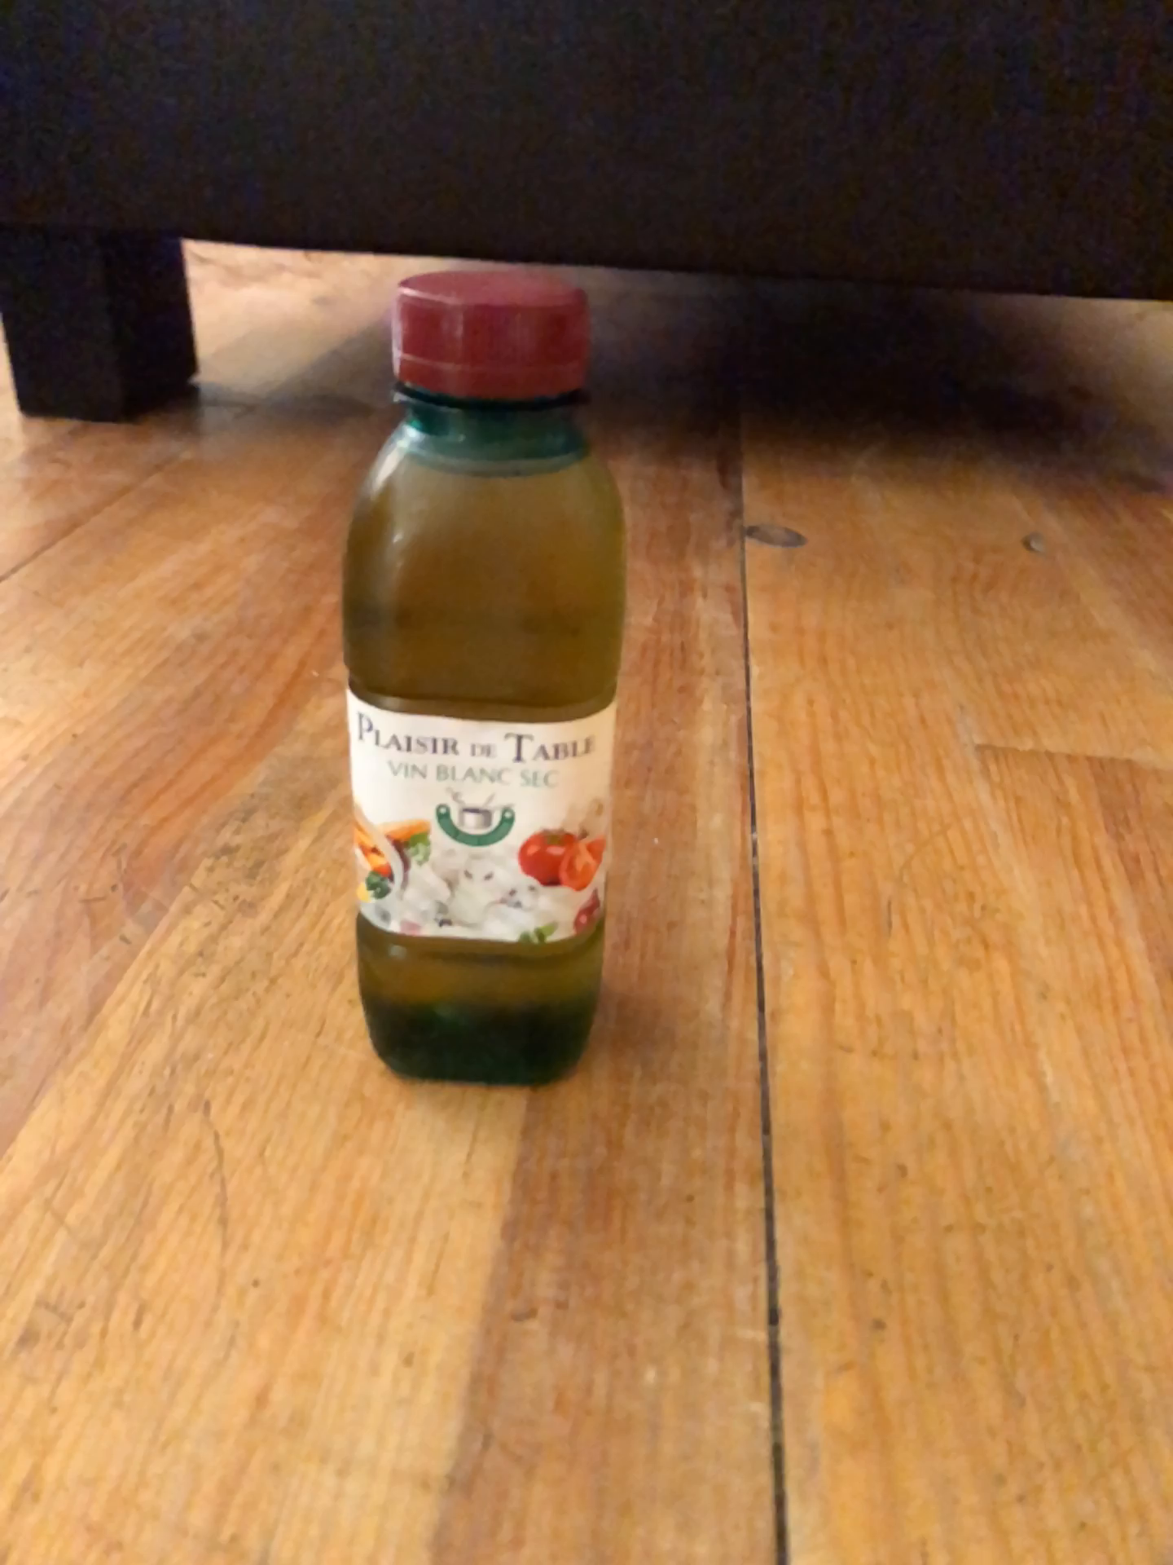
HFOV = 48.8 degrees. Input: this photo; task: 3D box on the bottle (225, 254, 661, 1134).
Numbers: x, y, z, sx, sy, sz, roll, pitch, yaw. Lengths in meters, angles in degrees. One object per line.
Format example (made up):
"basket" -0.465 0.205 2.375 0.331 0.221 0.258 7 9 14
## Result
"bottle" -0.023 -0.012 0.237 0.060 0.149 0.050 5 28 2
